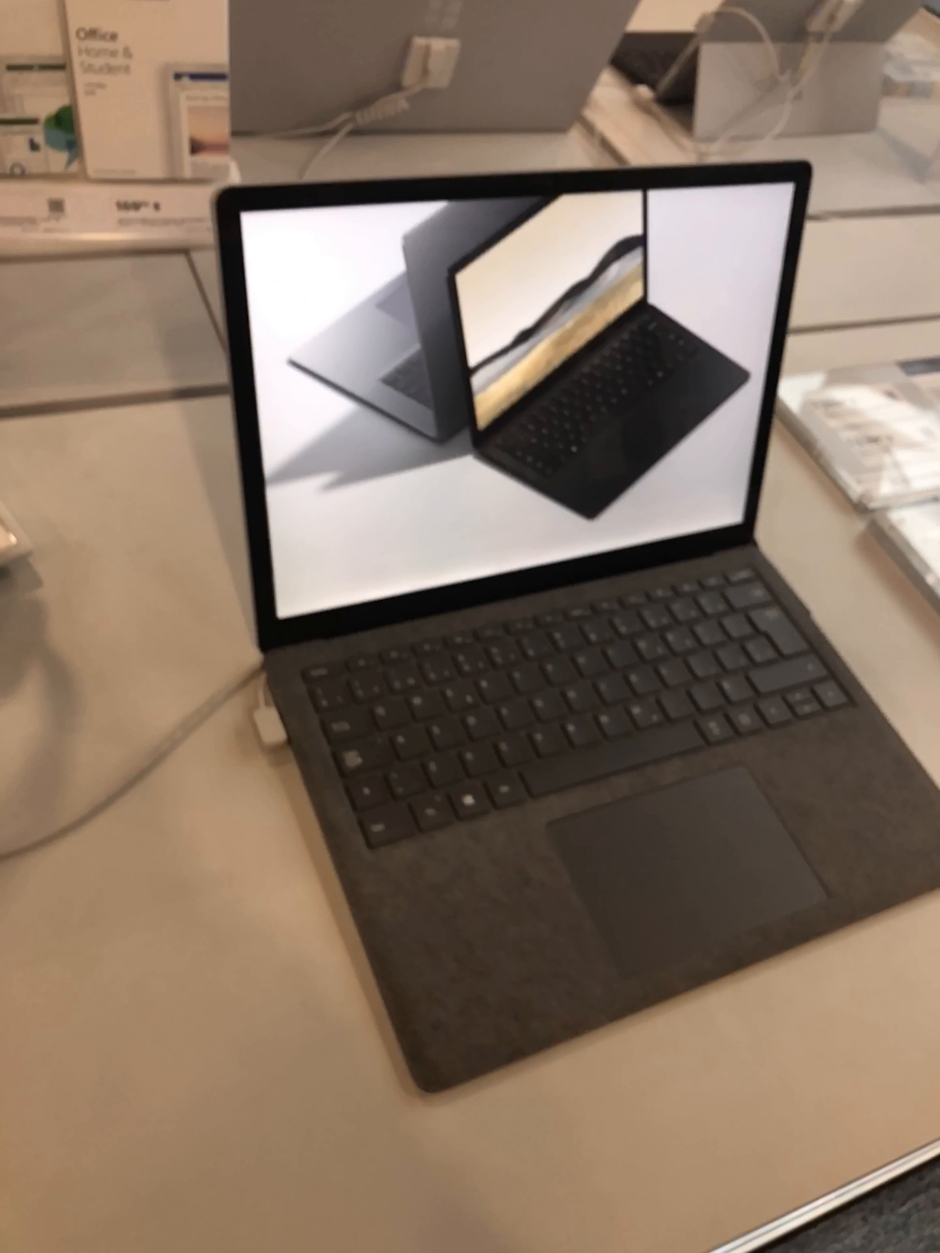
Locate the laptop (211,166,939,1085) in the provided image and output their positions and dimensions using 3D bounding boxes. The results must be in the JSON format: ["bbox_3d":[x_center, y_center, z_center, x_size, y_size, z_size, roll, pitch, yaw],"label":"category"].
[{"bbox_3d":[0.074,-0.028,0.466,0.297,0.196,0.295,-13,54,-23],"label":"laptop"}]
